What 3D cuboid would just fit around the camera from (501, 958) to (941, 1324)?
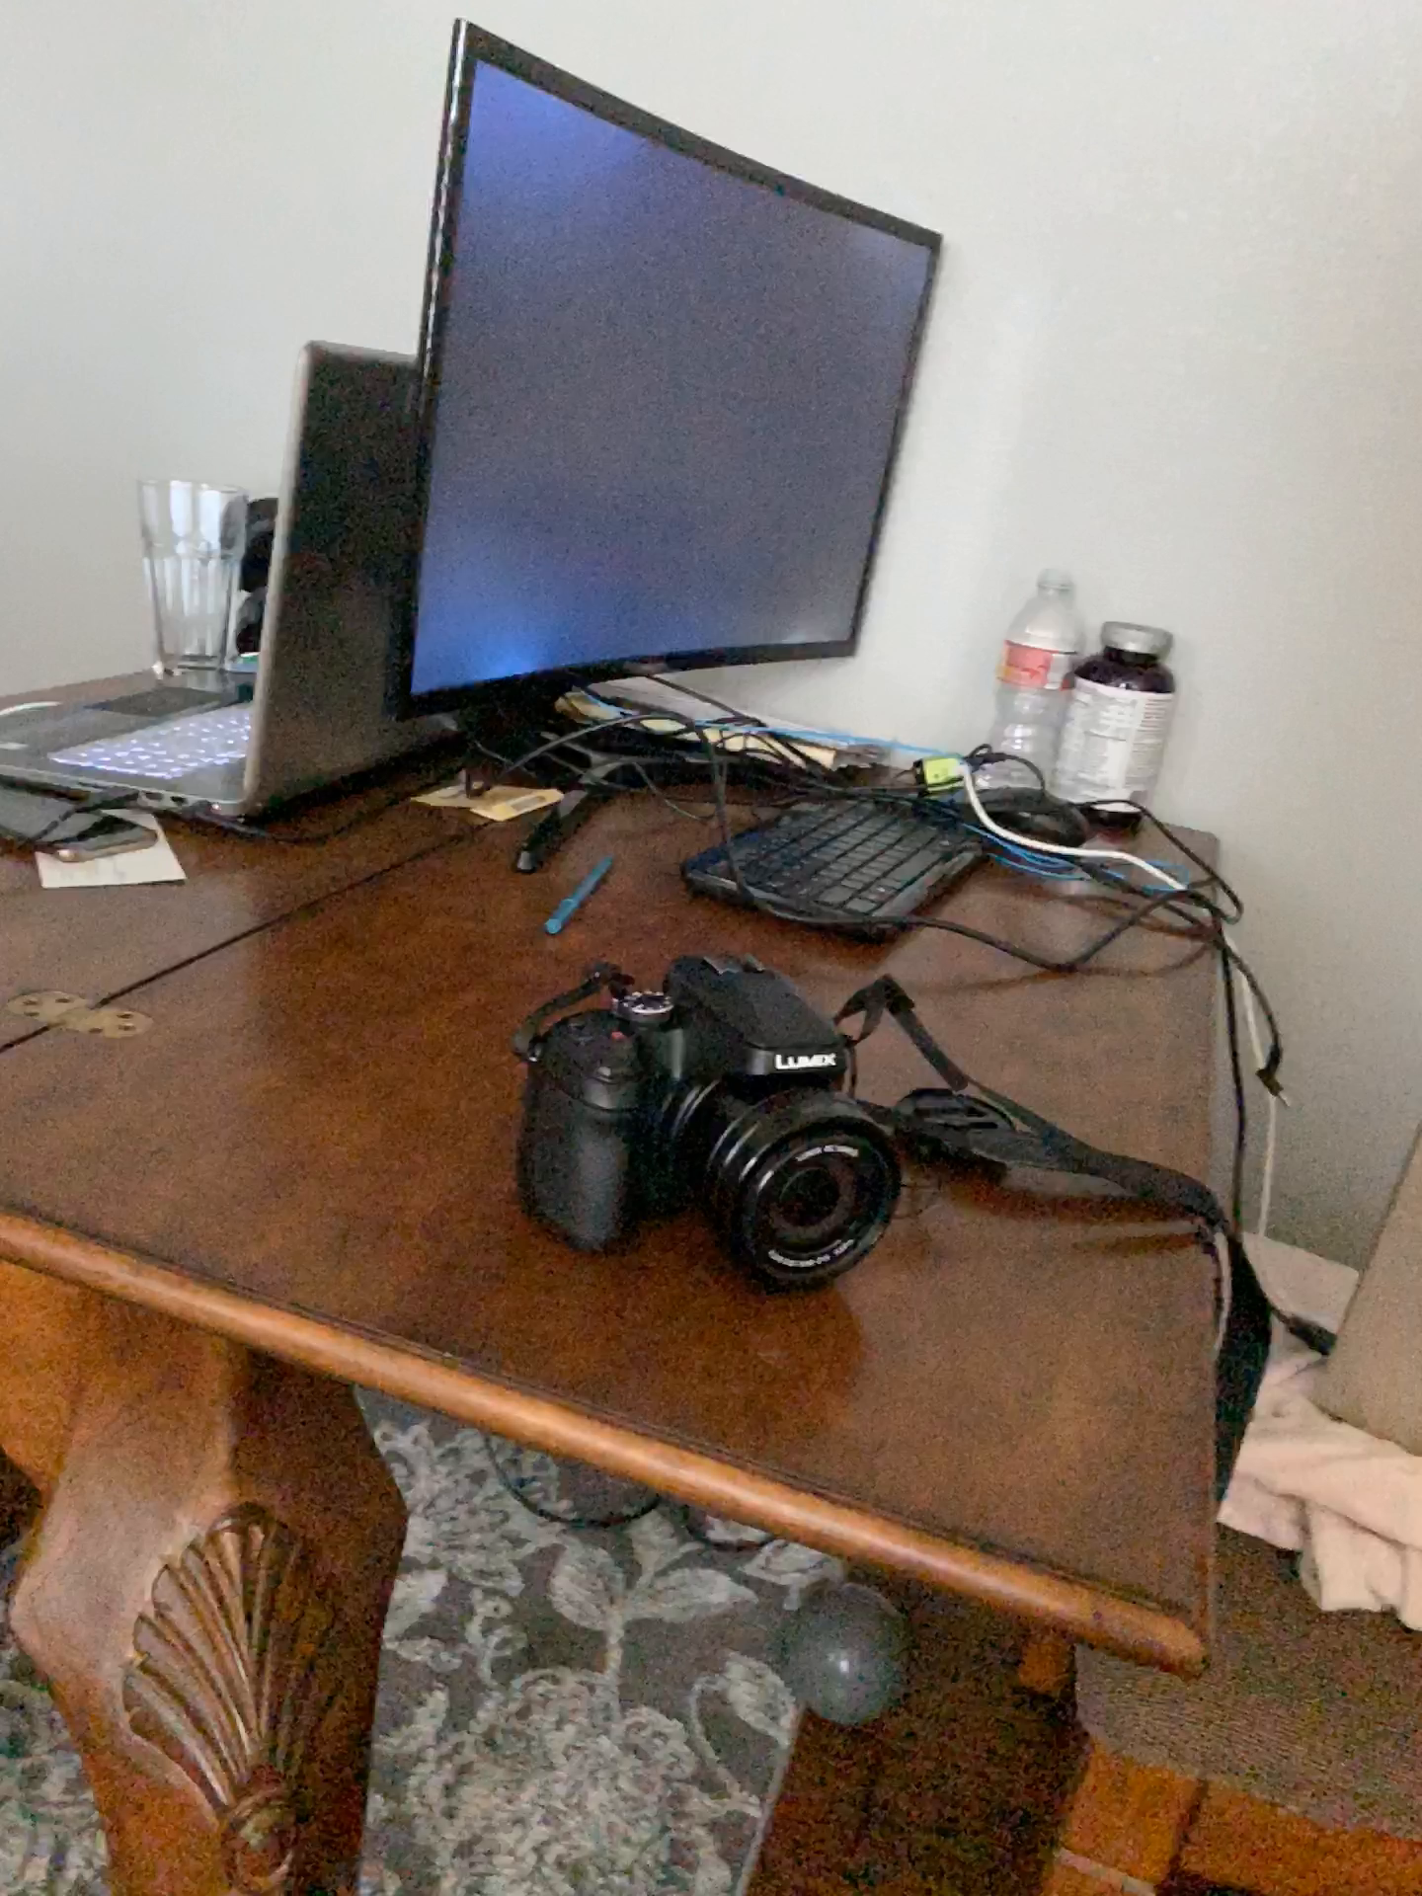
[{"bbox_3d":[-0.001,0.069,0.581,0.130,0.089,0.111,-3,22,-27],"label":"camera"}]
